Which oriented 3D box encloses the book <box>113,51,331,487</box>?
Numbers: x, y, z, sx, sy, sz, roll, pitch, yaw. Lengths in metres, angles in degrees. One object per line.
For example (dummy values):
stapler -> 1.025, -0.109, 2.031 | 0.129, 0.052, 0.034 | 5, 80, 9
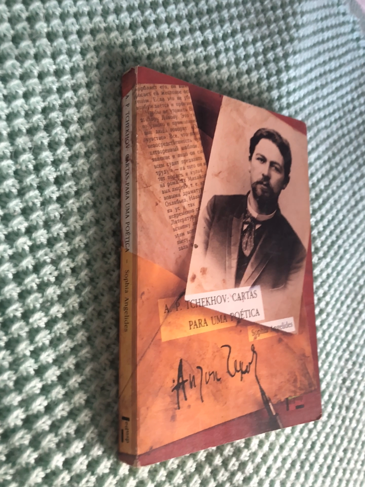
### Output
book -> 0.031, 0.012, 0.255 | 0.151, 0.030, 0.210 | 5, 80, -39
